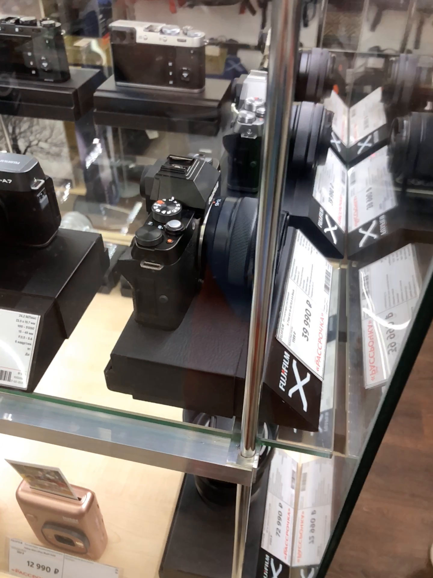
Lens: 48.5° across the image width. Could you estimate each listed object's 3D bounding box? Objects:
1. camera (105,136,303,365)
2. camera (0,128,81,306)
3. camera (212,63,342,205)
[{"bbox_3d":[-0.001,-0.032,0.329,0.095,0.089,0.121,10,42,10],"label":"camera"},{"bbox_3d":[-0.179,-0.055,0.341,0.120,0.069,0.100,8,41,7],"label":"camera"},{"bbox_3d":[0.058,-0.149,0.451,0.099,0.078,0.121,9,41,9],"label":"camera"}]
